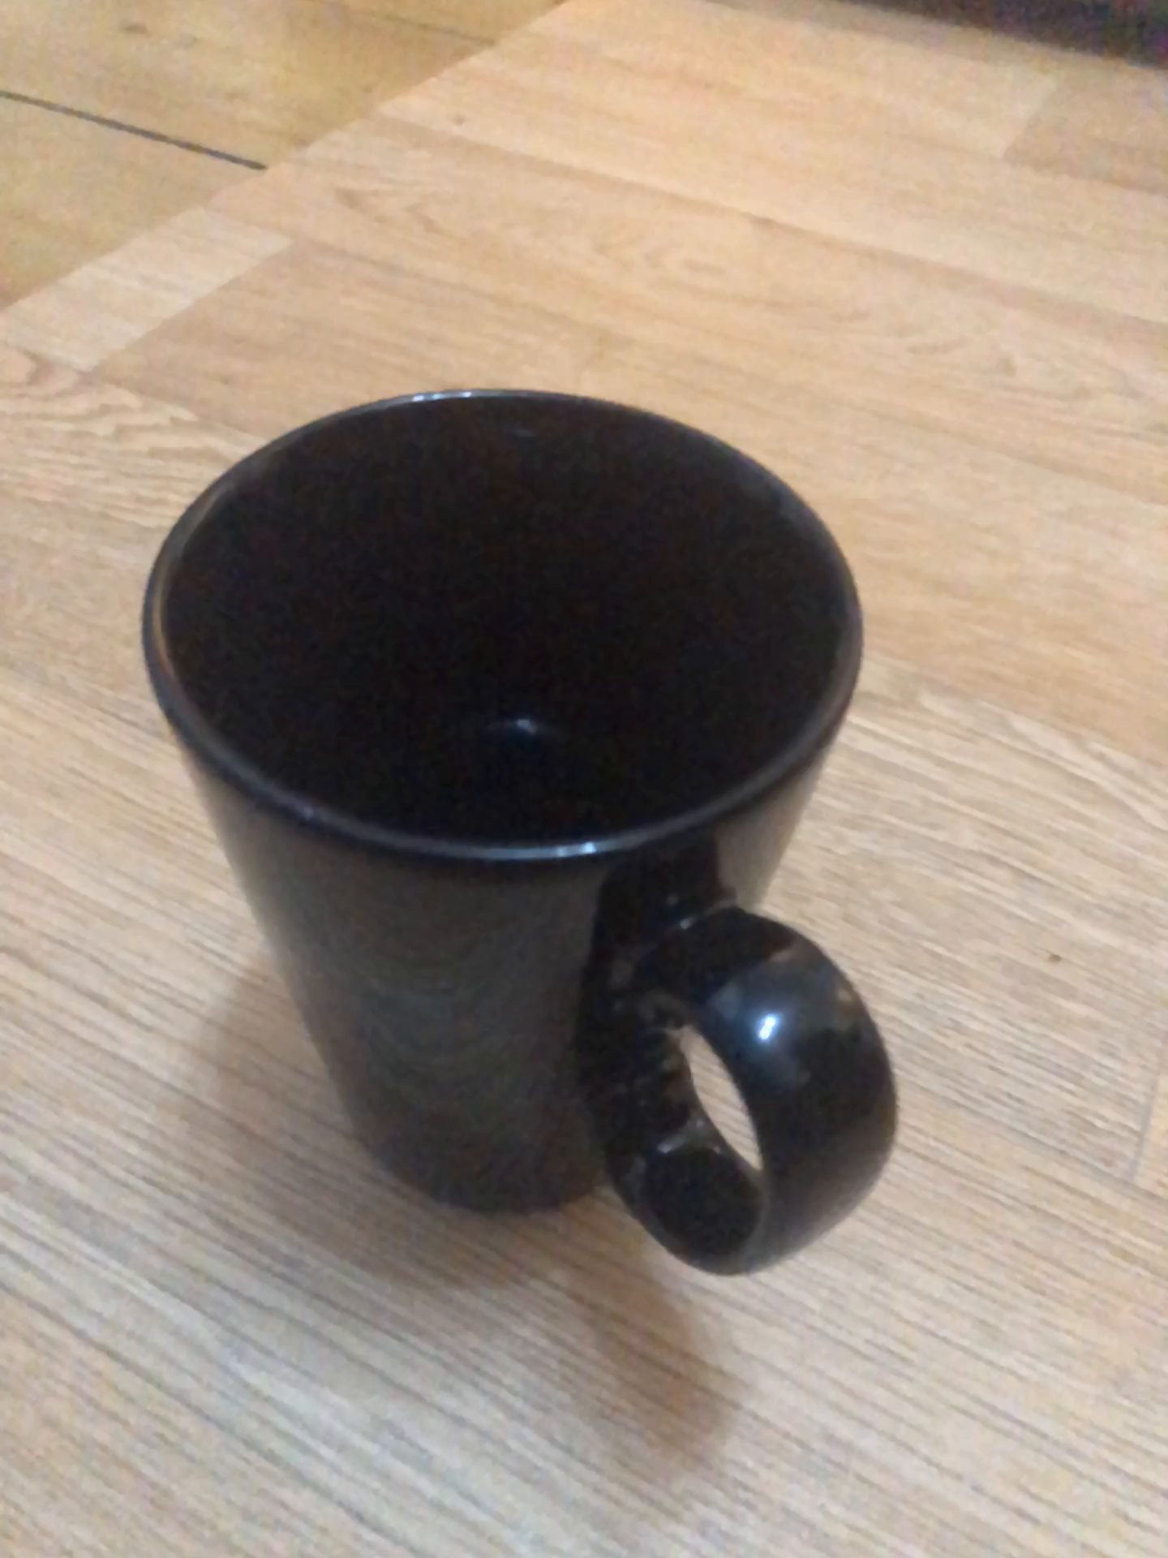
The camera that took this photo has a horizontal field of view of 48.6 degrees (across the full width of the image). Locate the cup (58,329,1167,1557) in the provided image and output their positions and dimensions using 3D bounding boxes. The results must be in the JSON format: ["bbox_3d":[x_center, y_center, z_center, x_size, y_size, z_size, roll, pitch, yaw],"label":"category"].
[{"bbox_3d":[0.002,0.017,0.177,0.090,0.089,0.120,-22,52,-22],"label":"cup"}]
